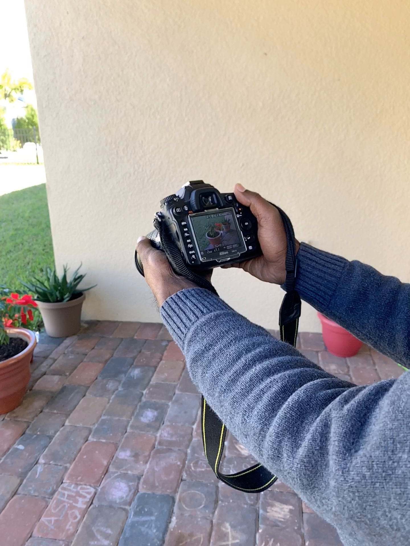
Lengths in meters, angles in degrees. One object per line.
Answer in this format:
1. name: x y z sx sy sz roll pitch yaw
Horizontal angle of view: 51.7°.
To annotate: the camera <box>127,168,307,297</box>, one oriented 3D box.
1. camera: 0.004 -0.046 0.556 0.130 0.101 0.199 -13 -4 -32
